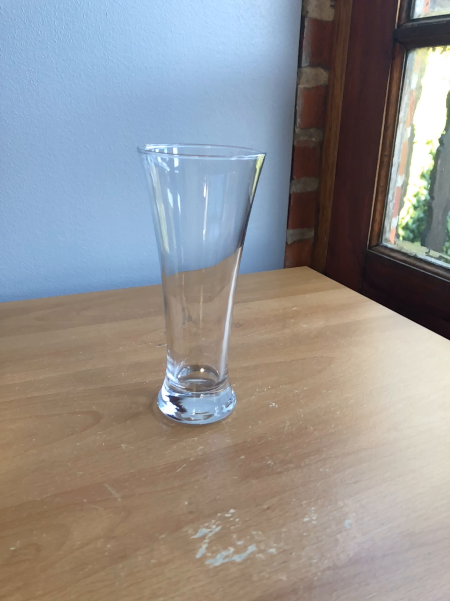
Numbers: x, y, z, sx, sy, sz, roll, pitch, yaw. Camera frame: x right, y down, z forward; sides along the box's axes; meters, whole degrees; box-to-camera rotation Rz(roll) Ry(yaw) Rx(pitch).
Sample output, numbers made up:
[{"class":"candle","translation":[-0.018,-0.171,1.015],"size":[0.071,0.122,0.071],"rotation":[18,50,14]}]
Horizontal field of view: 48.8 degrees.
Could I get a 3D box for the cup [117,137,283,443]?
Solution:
[{"class":"cup","translation":[-0.015,-0.011,0.319],"size":[0.076,0.168,0.083],"rotation":[3,22,-1]}]
